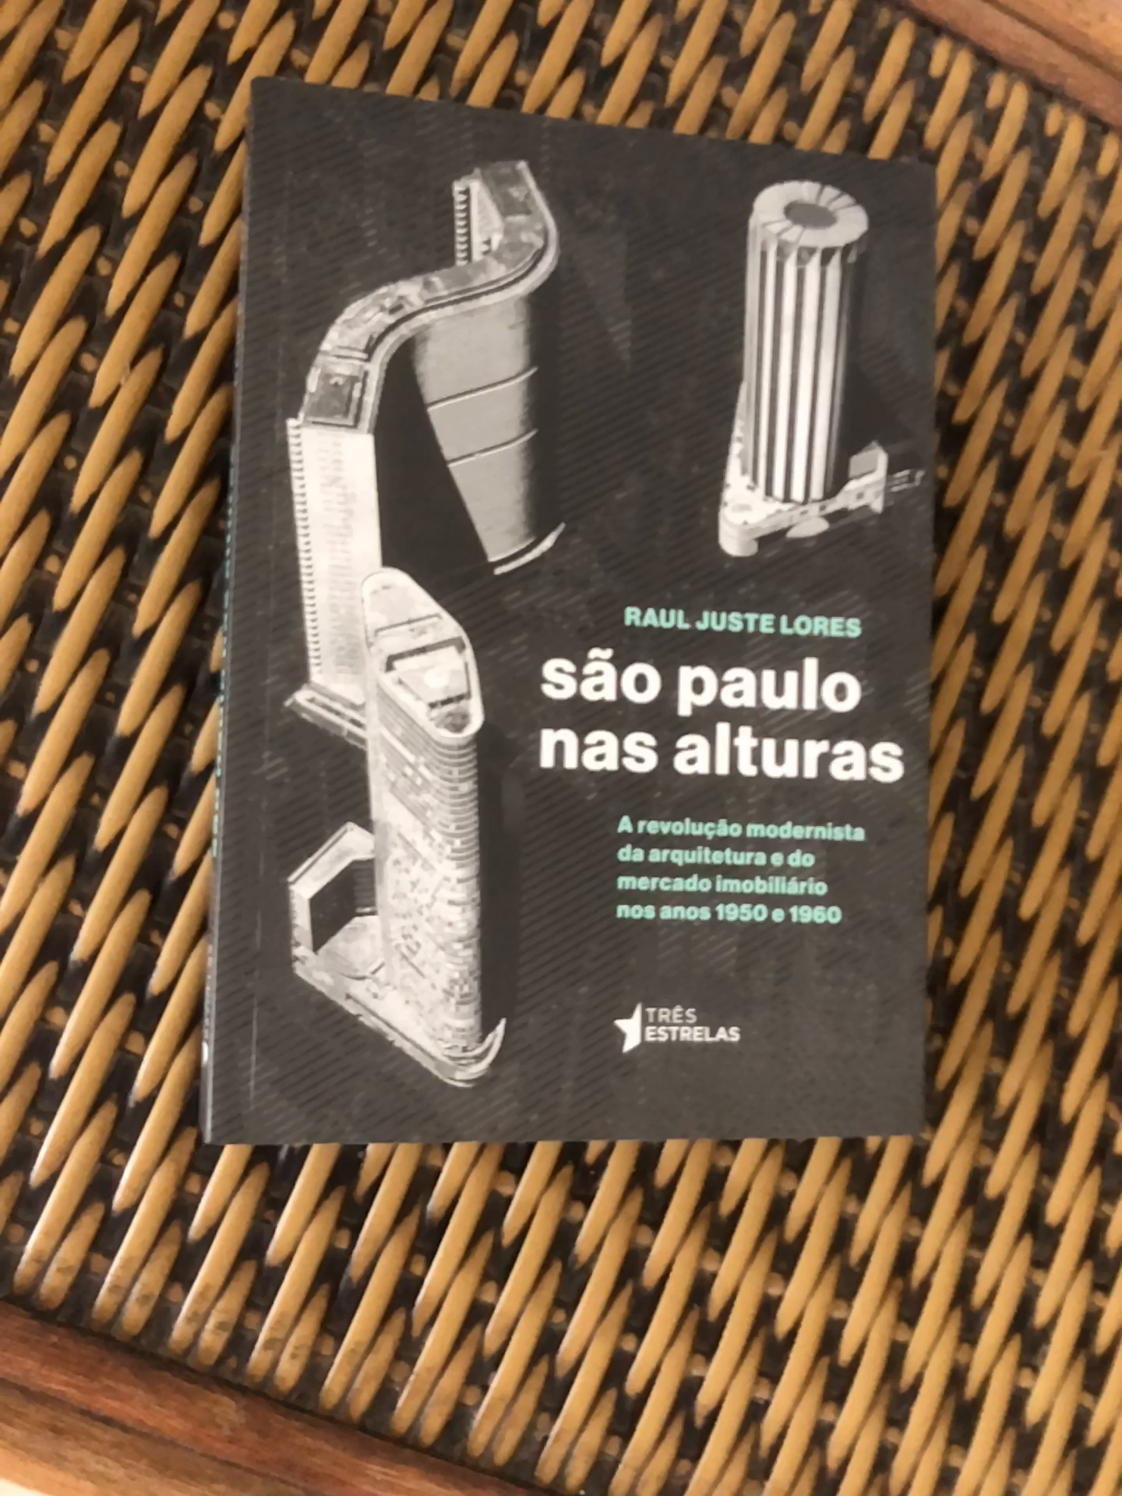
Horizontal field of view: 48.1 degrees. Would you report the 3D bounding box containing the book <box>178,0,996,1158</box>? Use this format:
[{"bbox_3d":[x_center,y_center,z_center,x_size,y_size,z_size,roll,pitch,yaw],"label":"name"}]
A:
[{"bbox_3d":[0.008,-0.029,0.269,0.160,0.030,0.221,2,90,-11],"label":"book"}]
